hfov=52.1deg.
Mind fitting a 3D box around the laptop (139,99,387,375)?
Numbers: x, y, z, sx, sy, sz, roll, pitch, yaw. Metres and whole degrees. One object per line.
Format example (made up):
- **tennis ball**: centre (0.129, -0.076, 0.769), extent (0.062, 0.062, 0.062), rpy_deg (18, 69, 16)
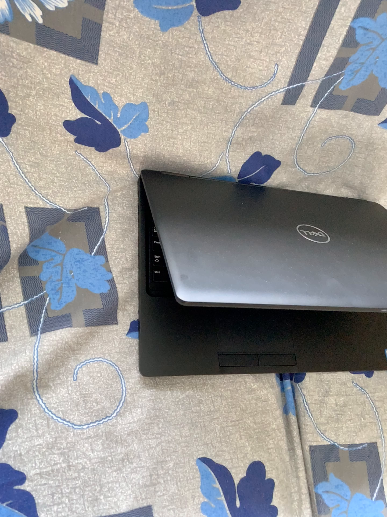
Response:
- **laptop**: centre (0.139, 0.000, 0.445), extent (0.372, 0.143, 0.238), rpy_deg (4, 70, -18)
